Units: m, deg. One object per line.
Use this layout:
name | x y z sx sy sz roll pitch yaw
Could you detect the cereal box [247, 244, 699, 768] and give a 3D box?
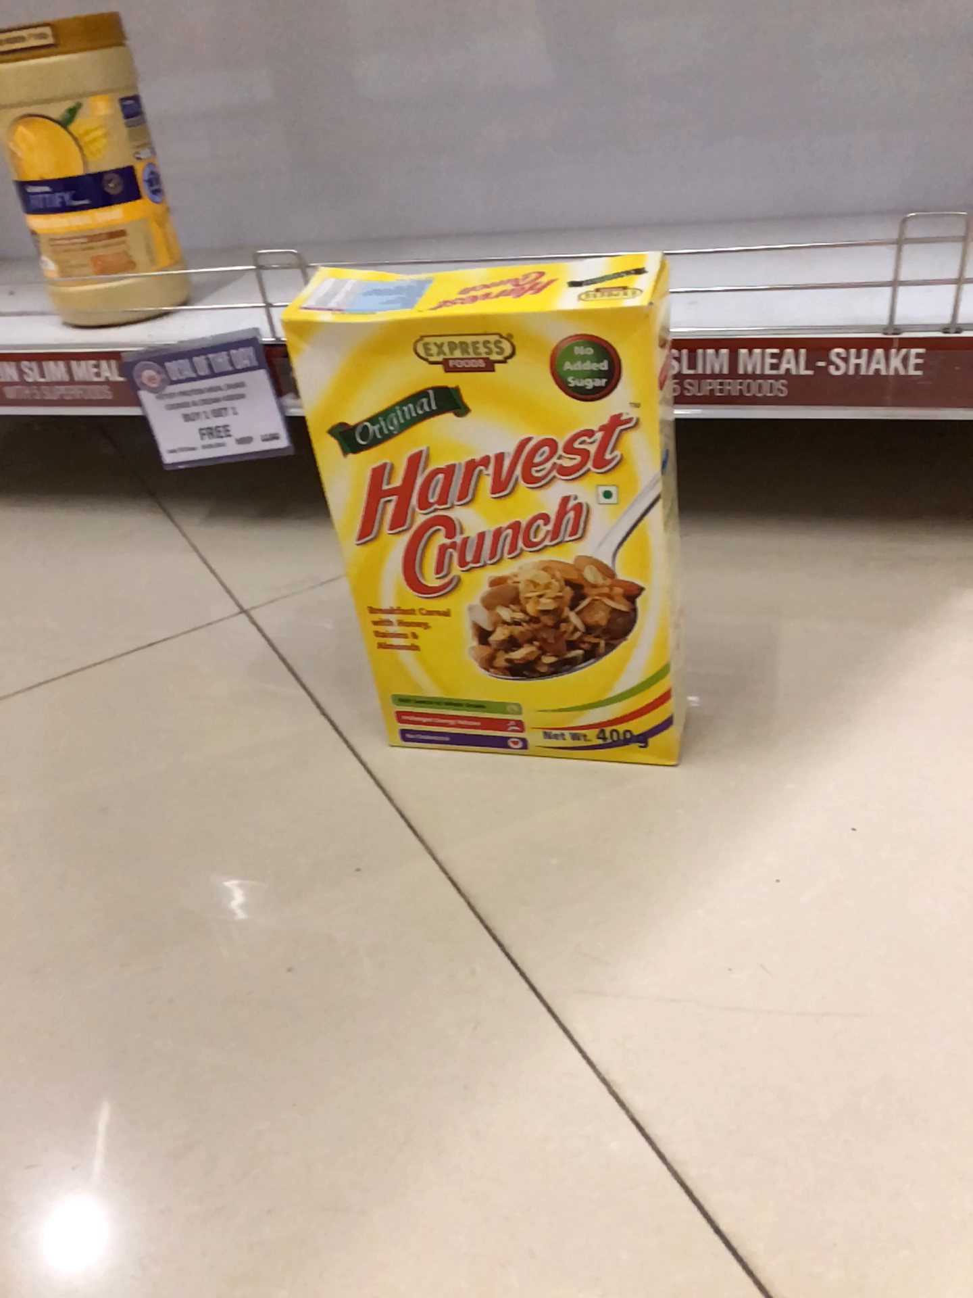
cereal box | 0.006 -0.052 0.455 0.160 0.209 0.050 2 34 15
